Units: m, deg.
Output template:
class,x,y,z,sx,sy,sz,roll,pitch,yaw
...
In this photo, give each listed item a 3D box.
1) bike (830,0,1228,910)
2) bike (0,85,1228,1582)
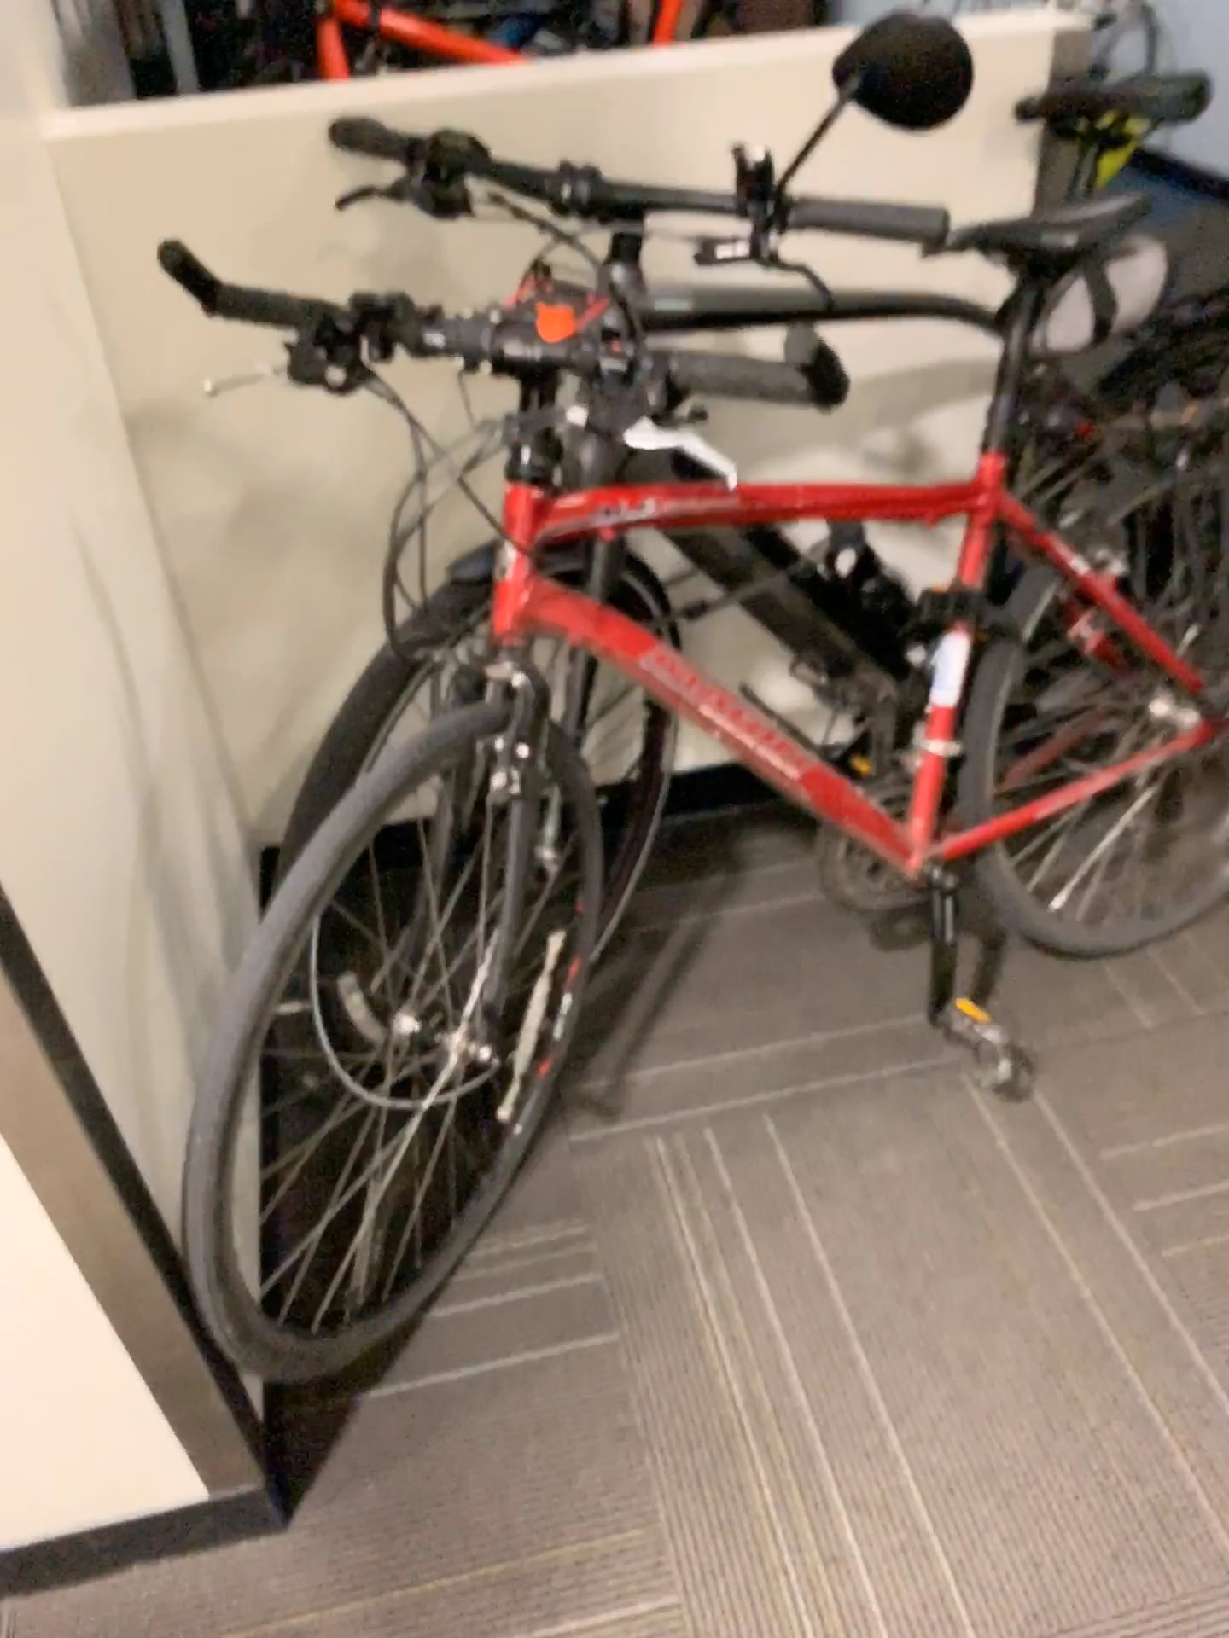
class,x,y,z,sx,sy,sz,roll,pitch,yaw
bike,0.794,-0.564,1.762,0.726,1.148,0.696,-20,41,-28
bike,0.288,-0.175,1.343,1.612,0.927,0.606,-23,42,-28
